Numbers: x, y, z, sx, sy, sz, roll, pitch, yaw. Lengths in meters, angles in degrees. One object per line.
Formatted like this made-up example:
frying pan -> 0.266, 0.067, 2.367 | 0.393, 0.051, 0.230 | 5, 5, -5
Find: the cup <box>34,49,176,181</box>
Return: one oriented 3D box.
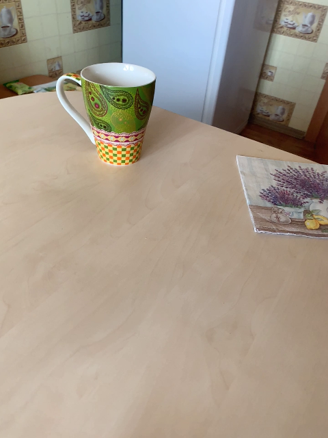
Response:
cup -> -0.072, -0.142, 0.444 | 0.130, 0.109, 0.110 | 21, 42, 17
